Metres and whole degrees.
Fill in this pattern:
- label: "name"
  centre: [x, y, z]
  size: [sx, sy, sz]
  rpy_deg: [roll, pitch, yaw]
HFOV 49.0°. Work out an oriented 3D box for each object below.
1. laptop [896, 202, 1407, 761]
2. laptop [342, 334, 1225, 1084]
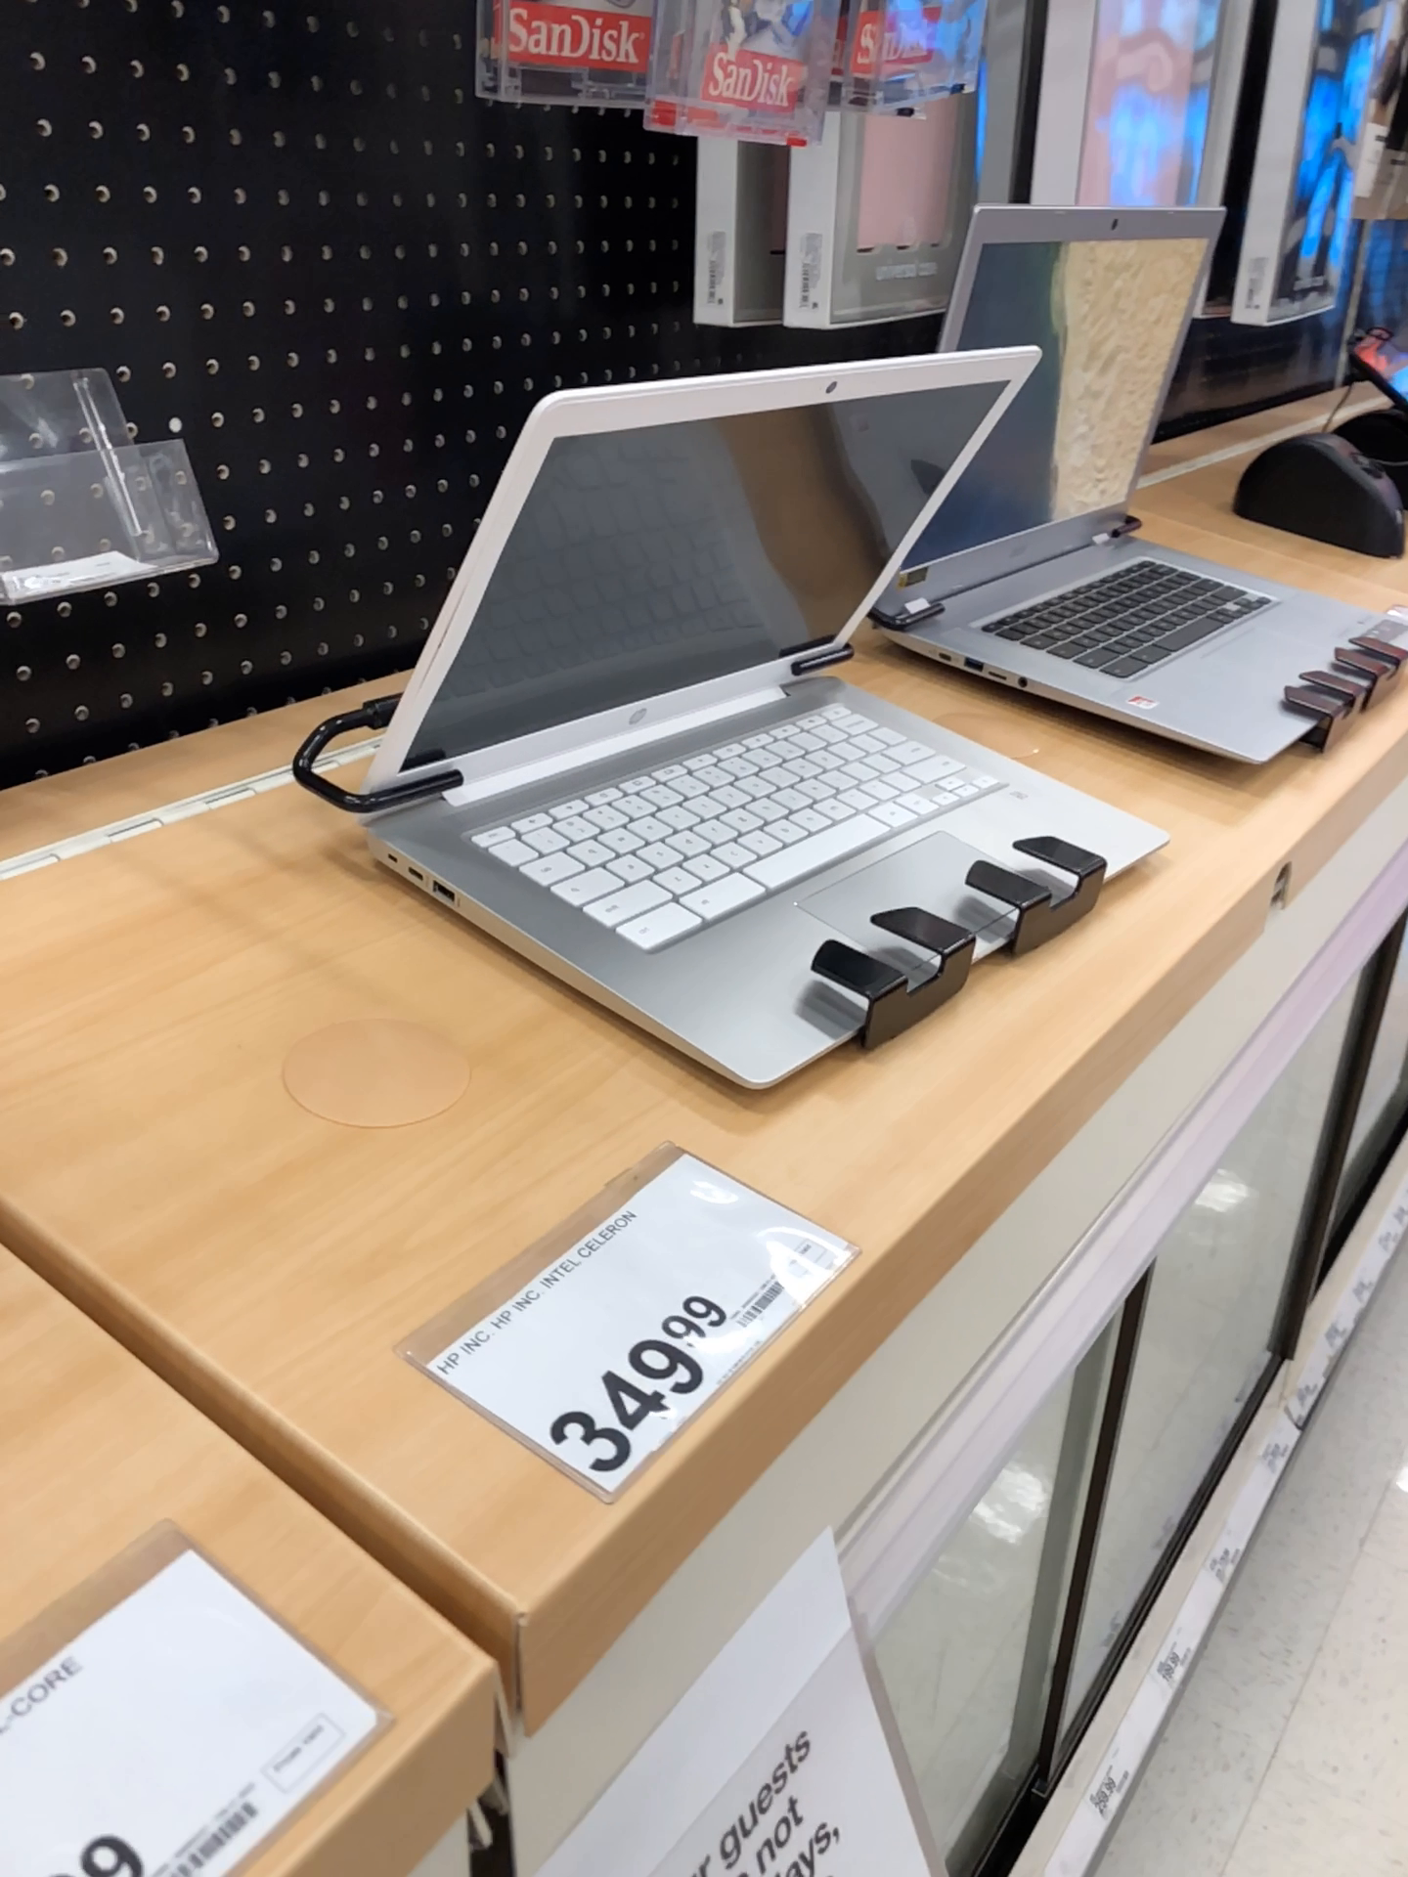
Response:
- label: "laptop"
  centre: [0.313, -0.302, 0.949]
  size: [0.230, 0.231, 0.321]
  rpy_deg: [24, 35, 32]
- label: "laptop"
  centre: [0.049, -0.126, 0.654]
  size: [0.200, 0.172, 0.323]
  rpy_deg: [28, 35, 31]
